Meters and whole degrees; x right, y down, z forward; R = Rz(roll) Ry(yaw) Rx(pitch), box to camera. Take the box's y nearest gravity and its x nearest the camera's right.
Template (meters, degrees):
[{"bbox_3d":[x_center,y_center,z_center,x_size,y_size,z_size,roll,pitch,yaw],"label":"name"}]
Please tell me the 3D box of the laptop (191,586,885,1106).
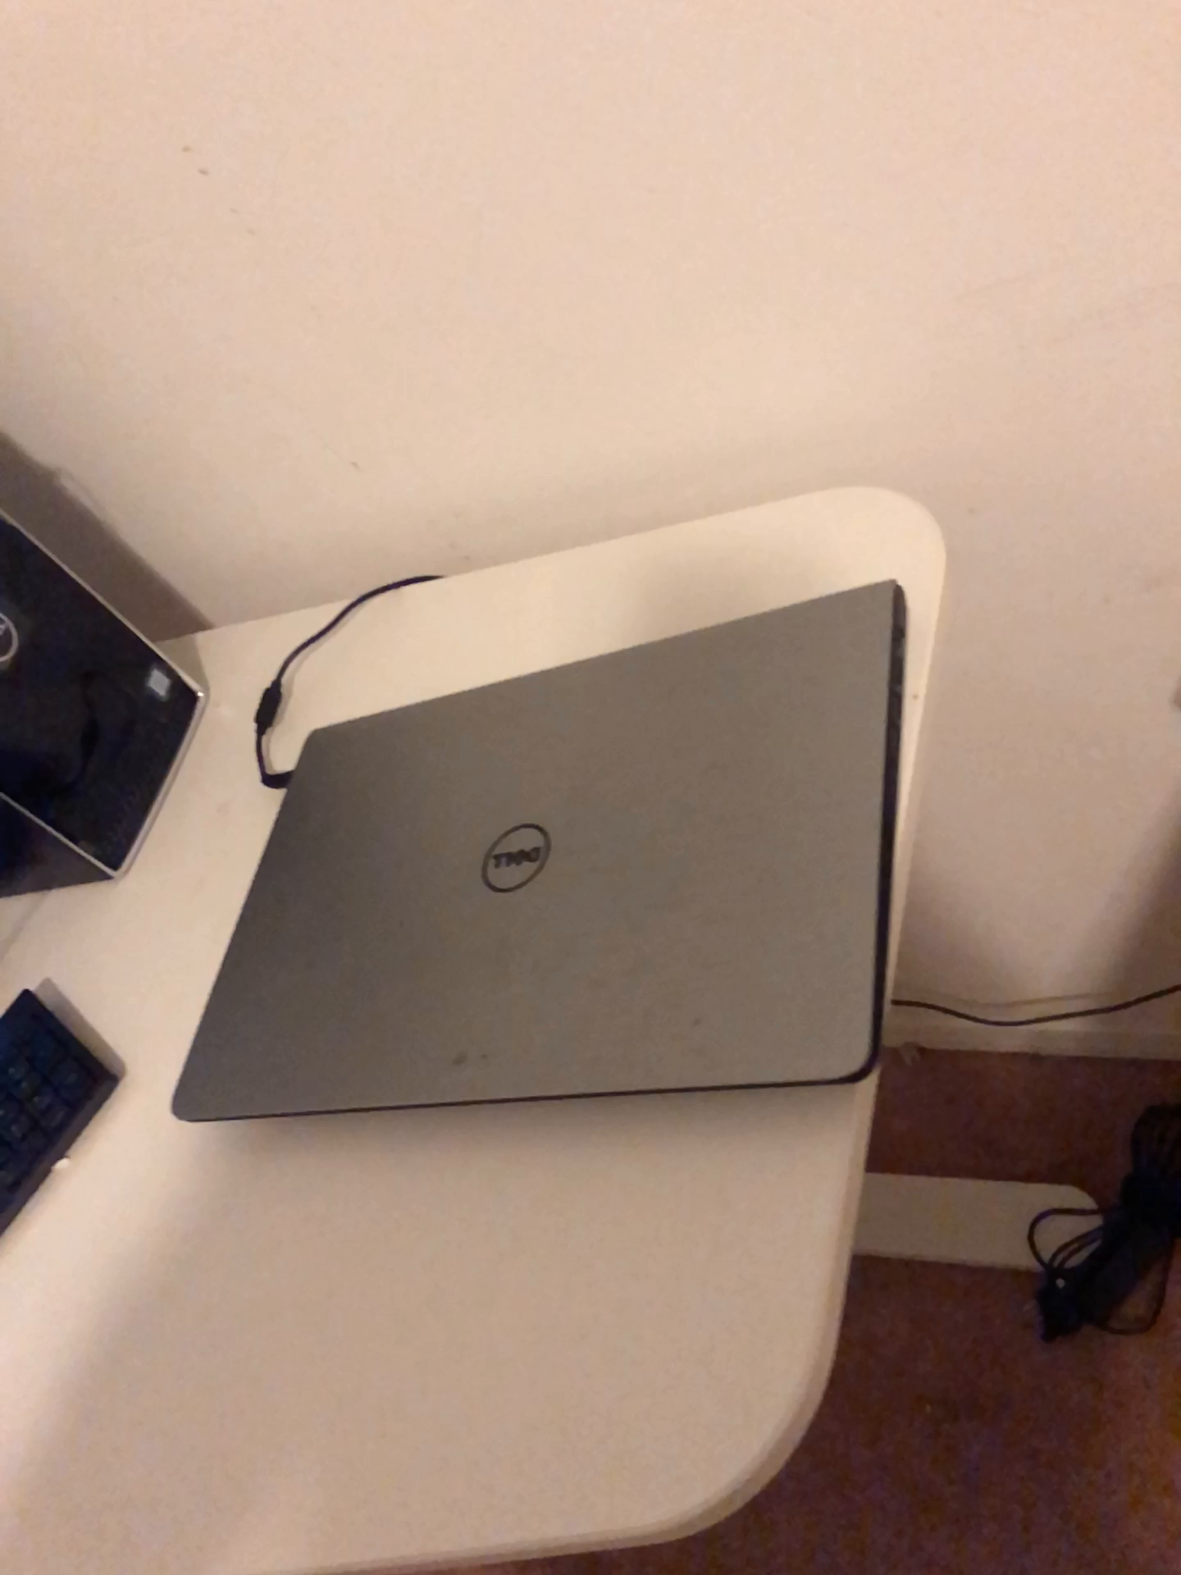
[{"bbox_3d":[-0.034,0.035,0.647,0.372,0.001,0.248,-12,50,32],"label":"laptop"}]
